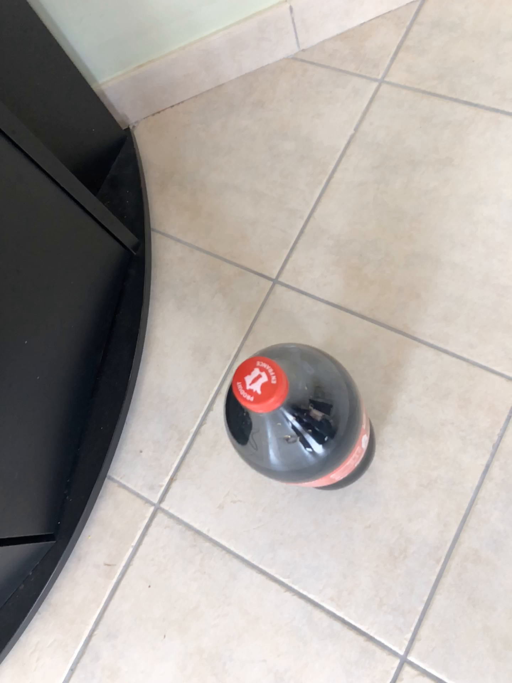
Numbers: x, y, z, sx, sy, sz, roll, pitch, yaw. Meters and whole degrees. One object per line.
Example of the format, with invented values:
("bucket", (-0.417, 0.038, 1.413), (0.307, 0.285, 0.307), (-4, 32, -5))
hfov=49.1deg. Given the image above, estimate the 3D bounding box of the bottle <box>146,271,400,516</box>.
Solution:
("bottle", (0.044, 0.064, 0.452), (0.110, 0.310, 0.100), (-4, 74, 13))
